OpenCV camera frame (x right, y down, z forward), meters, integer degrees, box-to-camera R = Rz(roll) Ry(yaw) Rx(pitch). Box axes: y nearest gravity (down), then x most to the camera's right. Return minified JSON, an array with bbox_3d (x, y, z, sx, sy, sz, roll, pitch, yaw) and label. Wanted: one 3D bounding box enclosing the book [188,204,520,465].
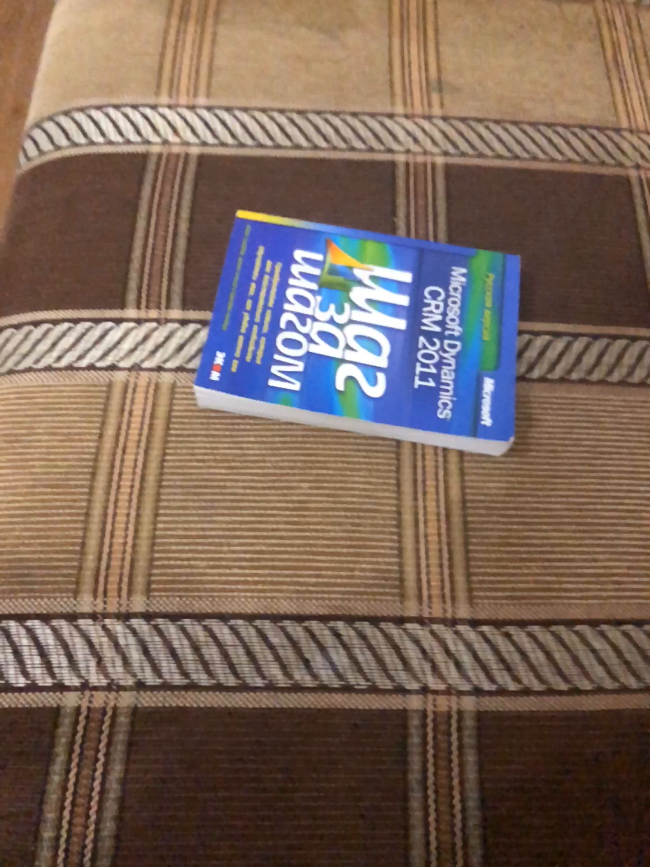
[{"bbox_3d":[0.025,-0.070,0.484,0.200,0.033,0.151,9,66,0],"label":"book"}]
